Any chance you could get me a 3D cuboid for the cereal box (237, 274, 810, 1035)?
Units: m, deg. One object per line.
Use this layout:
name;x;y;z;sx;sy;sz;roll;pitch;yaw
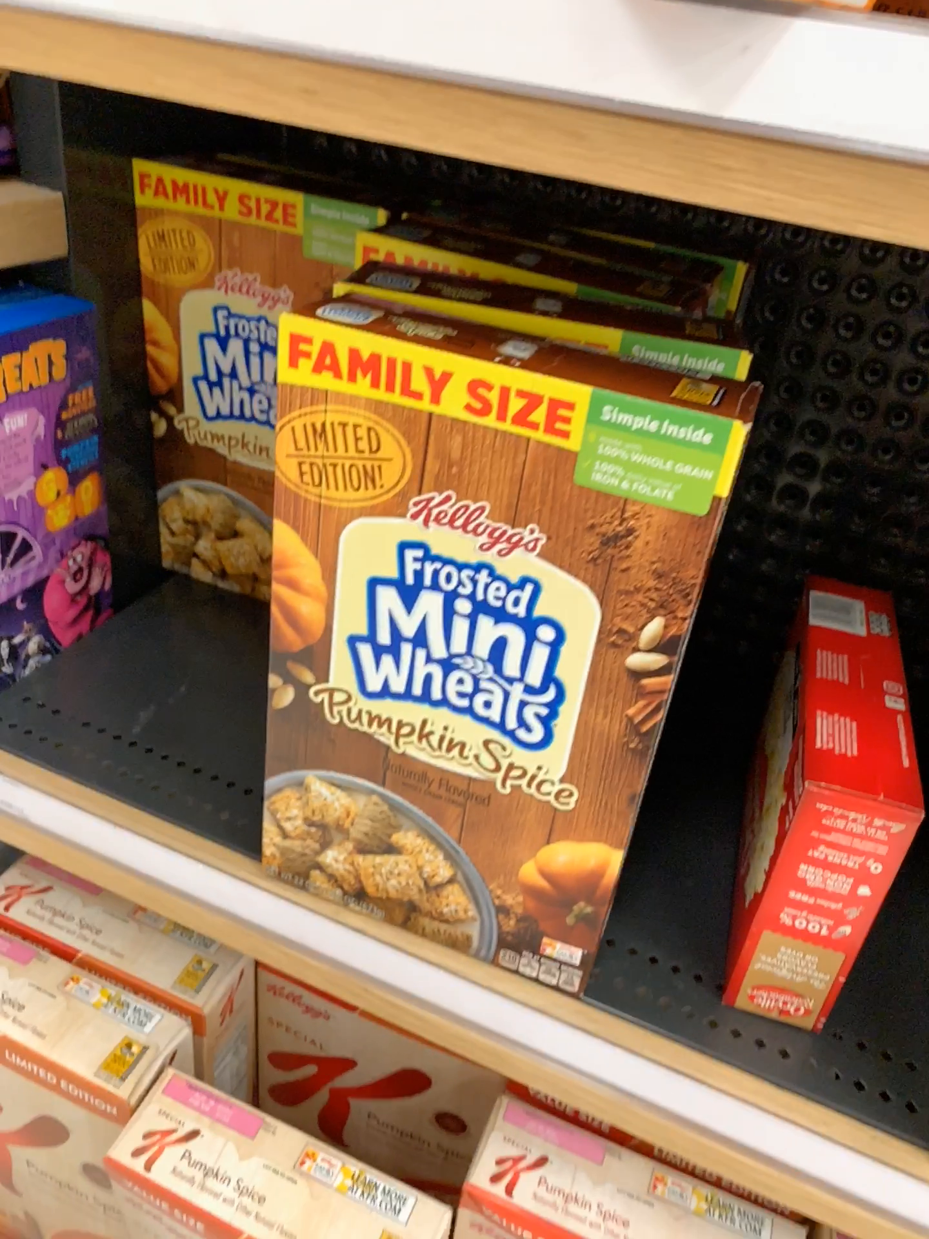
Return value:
cereal box;0.003;0.029;0.428;0.200;0.308;0.050;17;31;13
